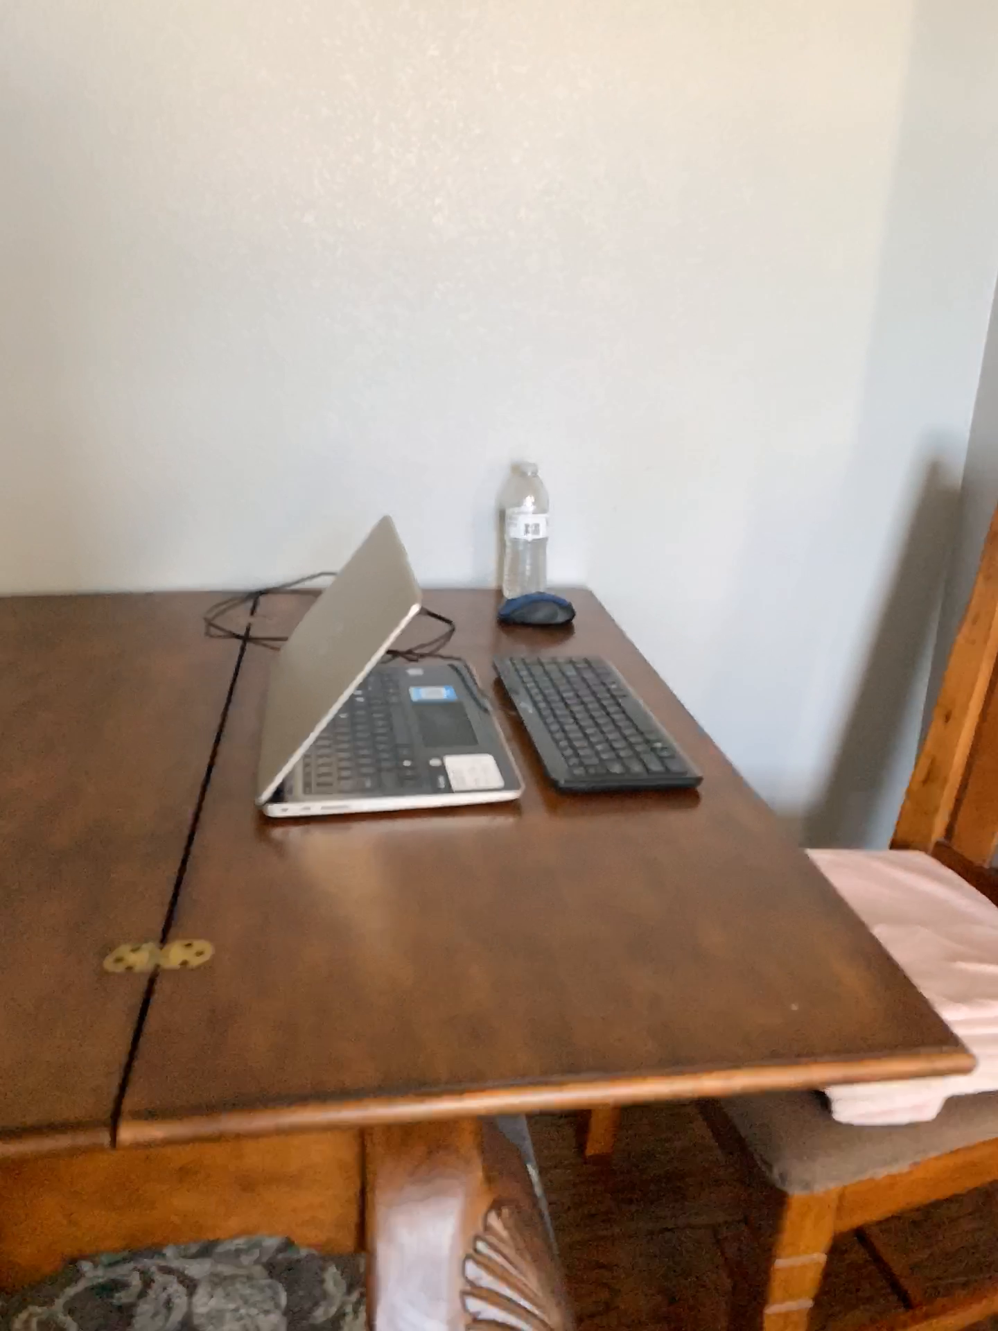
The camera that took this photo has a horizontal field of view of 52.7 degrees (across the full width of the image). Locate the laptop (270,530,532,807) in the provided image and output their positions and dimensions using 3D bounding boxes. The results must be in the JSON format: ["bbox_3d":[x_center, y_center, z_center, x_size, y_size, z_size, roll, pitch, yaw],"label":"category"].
[{"bbox_3d":[-0.102,-0.012,0.929,0.198,0.157,0.304,0,19,-11],"label":"laptop"}]
